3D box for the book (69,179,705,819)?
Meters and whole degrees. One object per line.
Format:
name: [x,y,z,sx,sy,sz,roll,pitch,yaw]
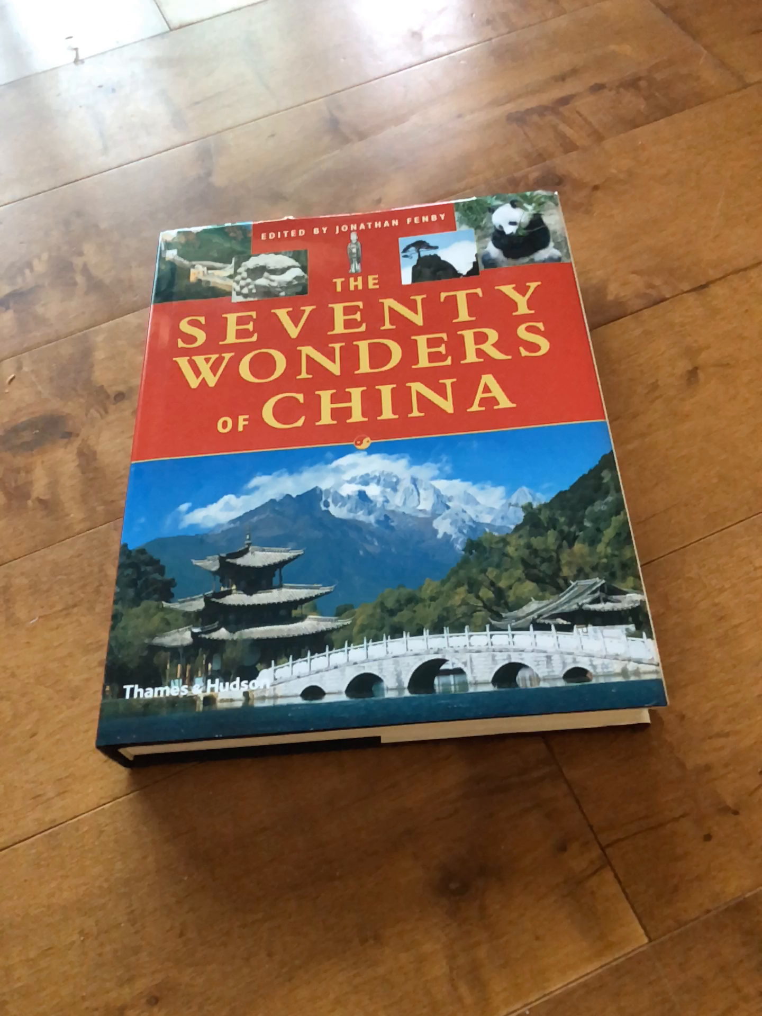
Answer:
book: [-0.006,-0.022,0.385,0.220,0.050,0.291,-5,59,3]
